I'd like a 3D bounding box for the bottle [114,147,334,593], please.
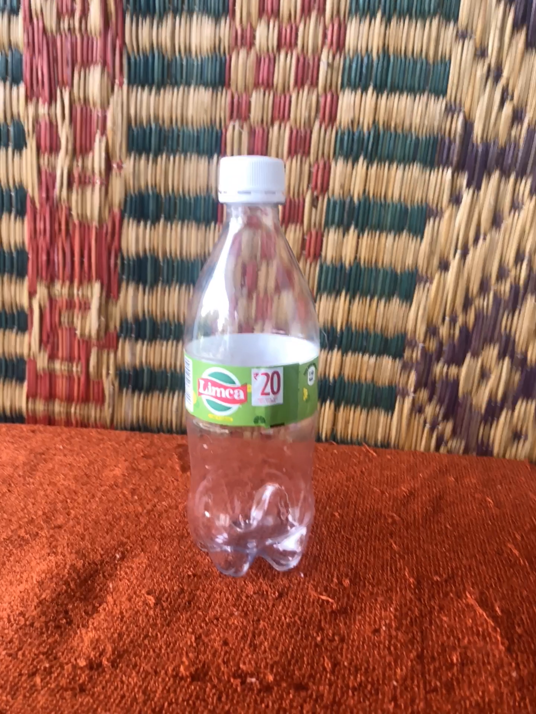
[{"bbox_3d":[-0.014,0.002,0.227,0.060,0.149,0.060,2,17,-1],"label":"bottle"}]
